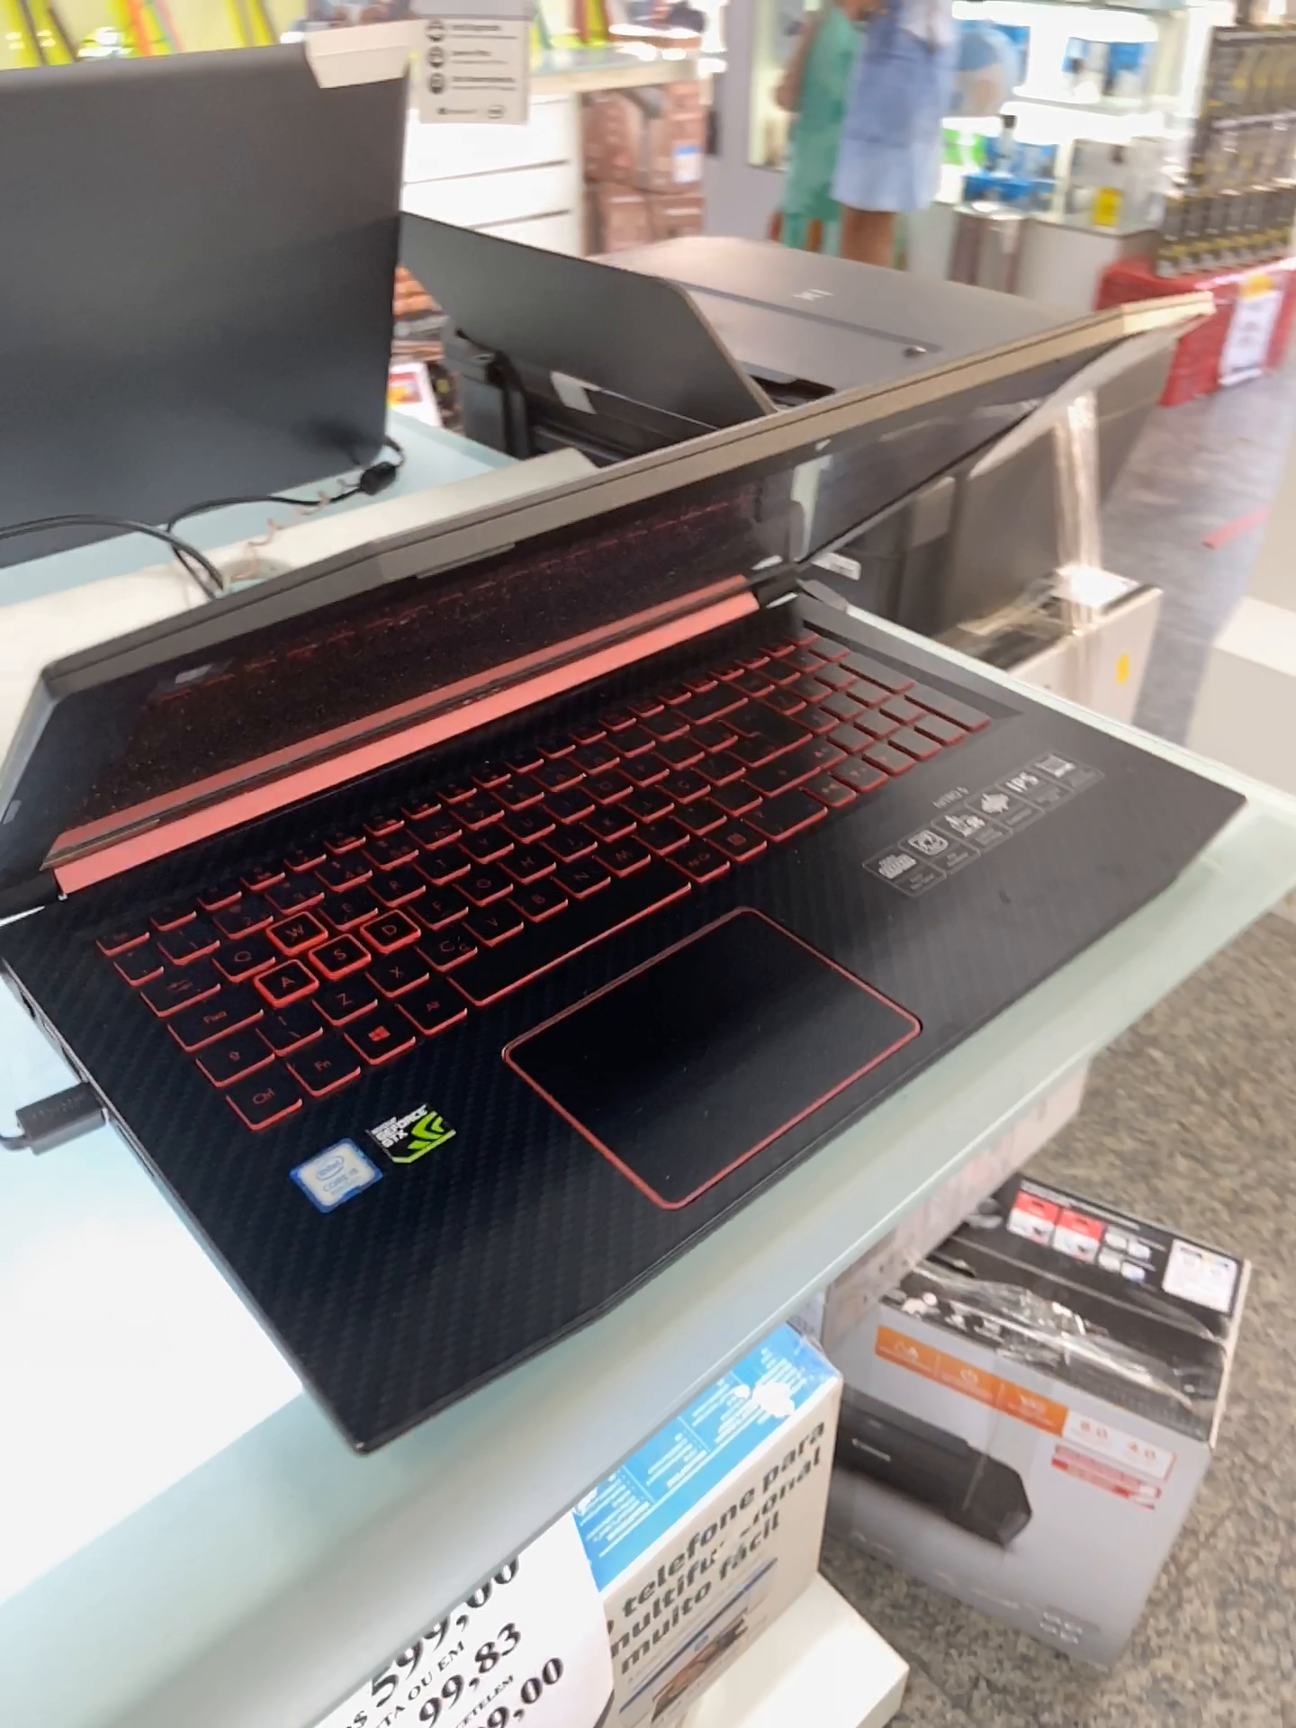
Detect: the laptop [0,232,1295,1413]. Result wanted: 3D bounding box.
[{"bbox_3d":[-0.002,-0.069,0.427,0.381,0.163,0.234,-28,44,-32],"label":"laptop"}]
